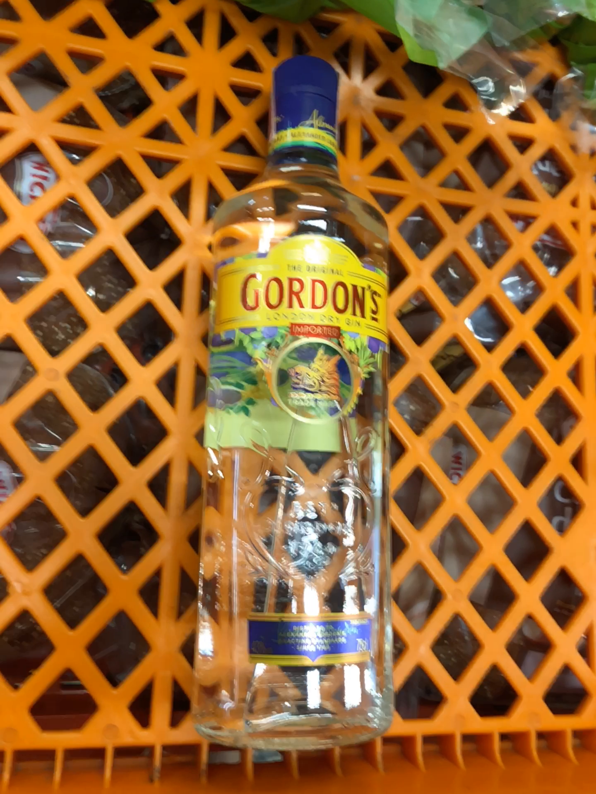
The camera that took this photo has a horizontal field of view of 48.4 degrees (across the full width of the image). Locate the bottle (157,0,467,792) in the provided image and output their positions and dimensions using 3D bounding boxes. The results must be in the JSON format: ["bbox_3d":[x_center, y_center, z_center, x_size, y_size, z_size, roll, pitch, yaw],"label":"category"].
[{"bbox_3d":[0.000,-0.022,0.289,0.100,0.100,0.310,3,82,-16],"label":"bottle"}]
